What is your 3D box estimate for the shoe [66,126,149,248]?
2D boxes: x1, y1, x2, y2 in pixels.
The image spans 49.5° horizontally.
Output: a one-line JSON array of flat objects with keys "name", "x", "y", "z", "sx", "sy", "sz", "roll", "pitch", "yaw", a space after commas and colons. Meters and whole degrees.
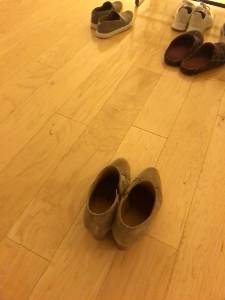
[{"name": "shoe", "x": -0.003, "y": 0.079, "z": 0.592, "sx": 0.110, "sy": 0.109, "sz": 0.252, "roll": 17, "pitch": 53, "yaw": 9}]

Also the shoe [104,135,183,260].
[{"name": "shoe", "x": 0.077, "y": 0.104, "z": 0.586, "sx": 0.110, "sy": 0.109, "sz": 0.252, "roll": 18, "pitch": 53, "yaw": 10}]
